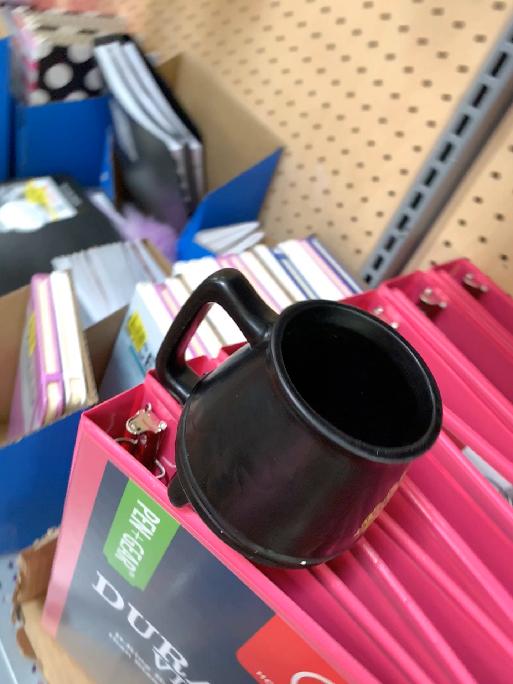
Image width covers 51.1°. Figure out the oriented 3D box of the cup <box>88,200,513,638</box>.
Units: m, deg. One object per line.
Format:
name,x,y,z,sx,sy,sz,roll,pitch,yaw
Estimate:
cup,0.015,0.026,0.225,0.122,0.093,0.097,40,45,13
